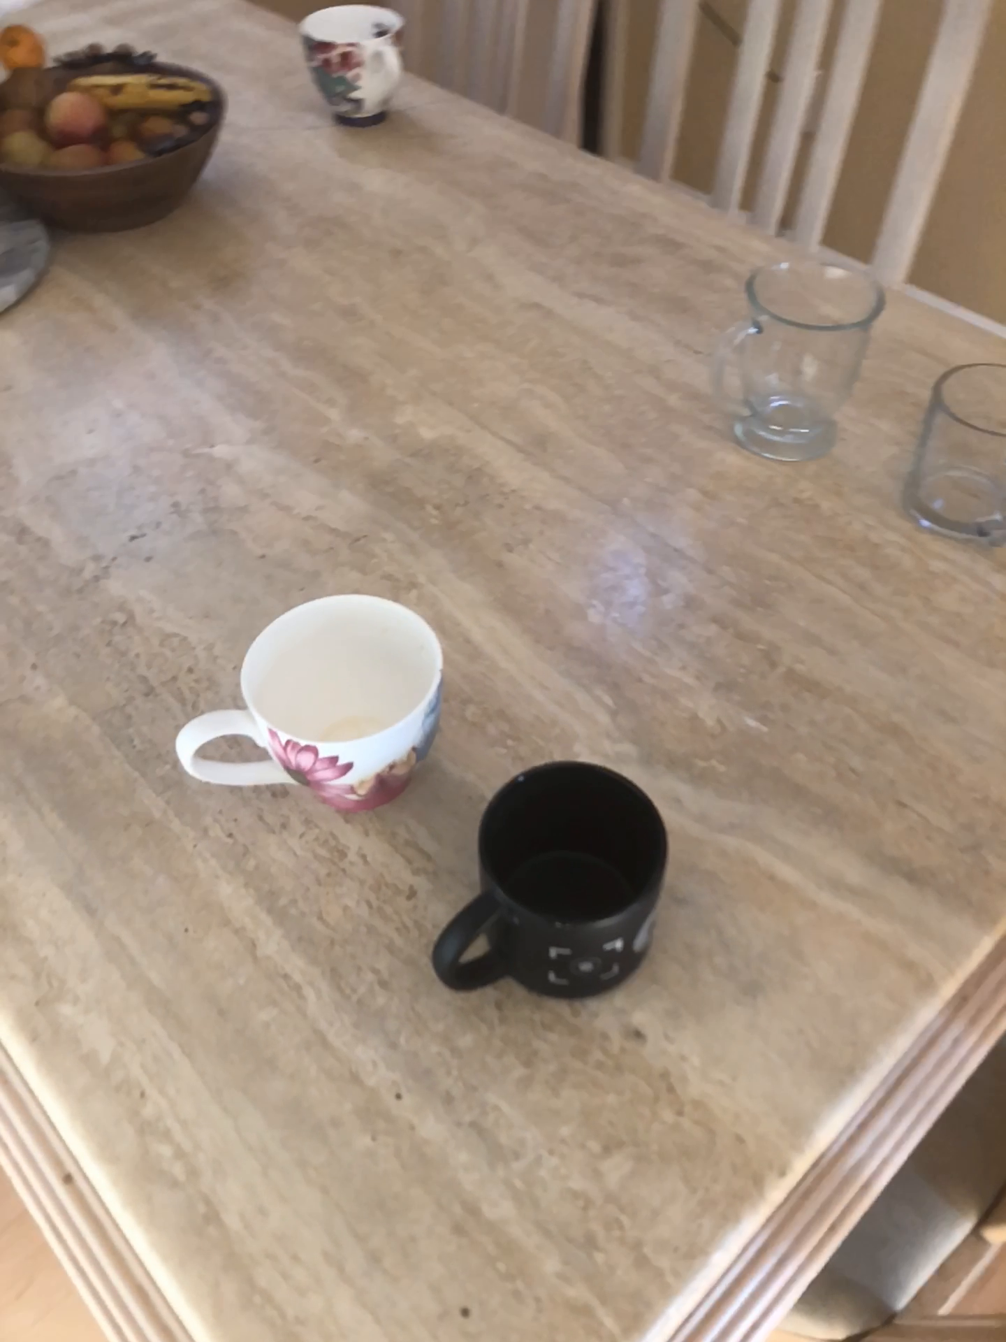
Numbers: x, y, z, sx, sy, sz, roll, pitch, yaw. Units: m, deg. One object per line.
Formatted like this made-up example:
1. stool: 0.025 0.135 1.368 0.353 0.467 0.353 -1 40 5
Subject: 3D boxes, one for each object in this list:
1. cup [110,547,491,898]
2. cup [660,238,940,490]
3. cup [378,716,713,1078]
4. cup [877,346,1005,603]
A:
1. cup: -0.106 0.026 0.610 0.171 0.099 0.101 -22 52 -17
2. cup: 0.216 -0.232 0.827 0.150 0.109 0.111 -20 52 -16
3. cup: 0.020 0.114 0.561 0.130 0.109 0.090 -25 53 -20
4. cup: 0.352 -0.141 0.784 0.090 0.109 0.131 -12 50 -10
